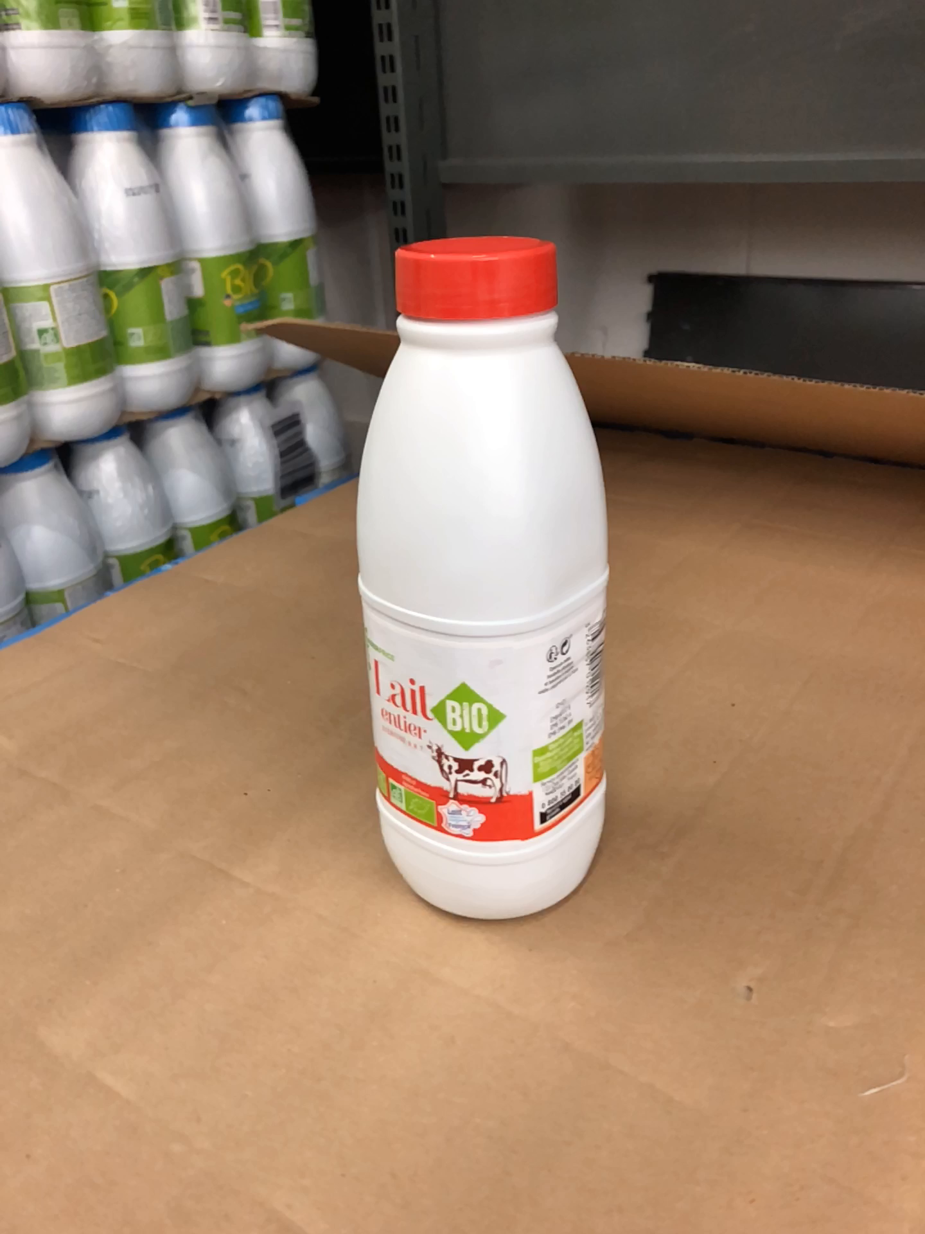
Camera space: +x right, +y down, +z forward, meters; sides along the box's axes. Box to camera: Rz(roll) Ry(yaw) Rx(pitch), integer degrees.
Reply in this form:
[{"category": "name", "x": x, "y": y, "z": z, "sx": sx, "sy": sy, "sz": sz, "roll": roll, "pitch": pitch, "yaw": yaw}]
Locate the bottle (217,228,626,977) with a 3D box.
[{"category": "bottle", "x": -0.004, "y": -0.006, "z": 0.349, "sx": 0.090, "sy": 0.229, "sz": 0.080, "roll": 14, "pitch": 31, "yaw": 31}]
